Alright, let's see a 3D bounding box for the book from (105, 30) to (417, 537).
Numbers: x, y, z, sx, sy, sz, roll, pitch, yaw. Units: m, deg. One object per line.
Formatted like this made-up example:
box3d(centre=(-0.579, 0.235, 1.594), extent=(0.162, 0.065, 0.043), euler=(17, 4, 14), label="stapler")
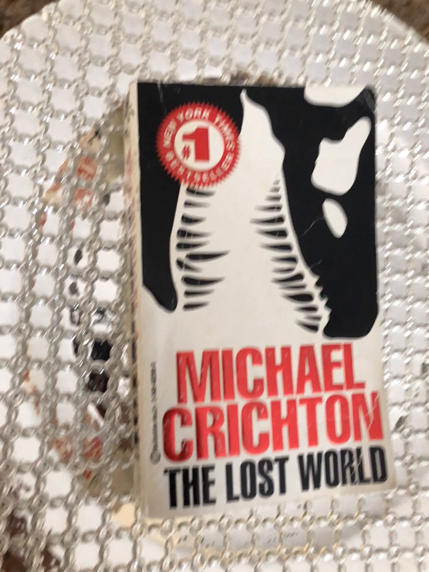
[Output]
box3d(centre=(0.016, -0.004, 0.207), extent=(0.118, 0.040, 0.182), euler=(-1, 84, -16), label="book")
